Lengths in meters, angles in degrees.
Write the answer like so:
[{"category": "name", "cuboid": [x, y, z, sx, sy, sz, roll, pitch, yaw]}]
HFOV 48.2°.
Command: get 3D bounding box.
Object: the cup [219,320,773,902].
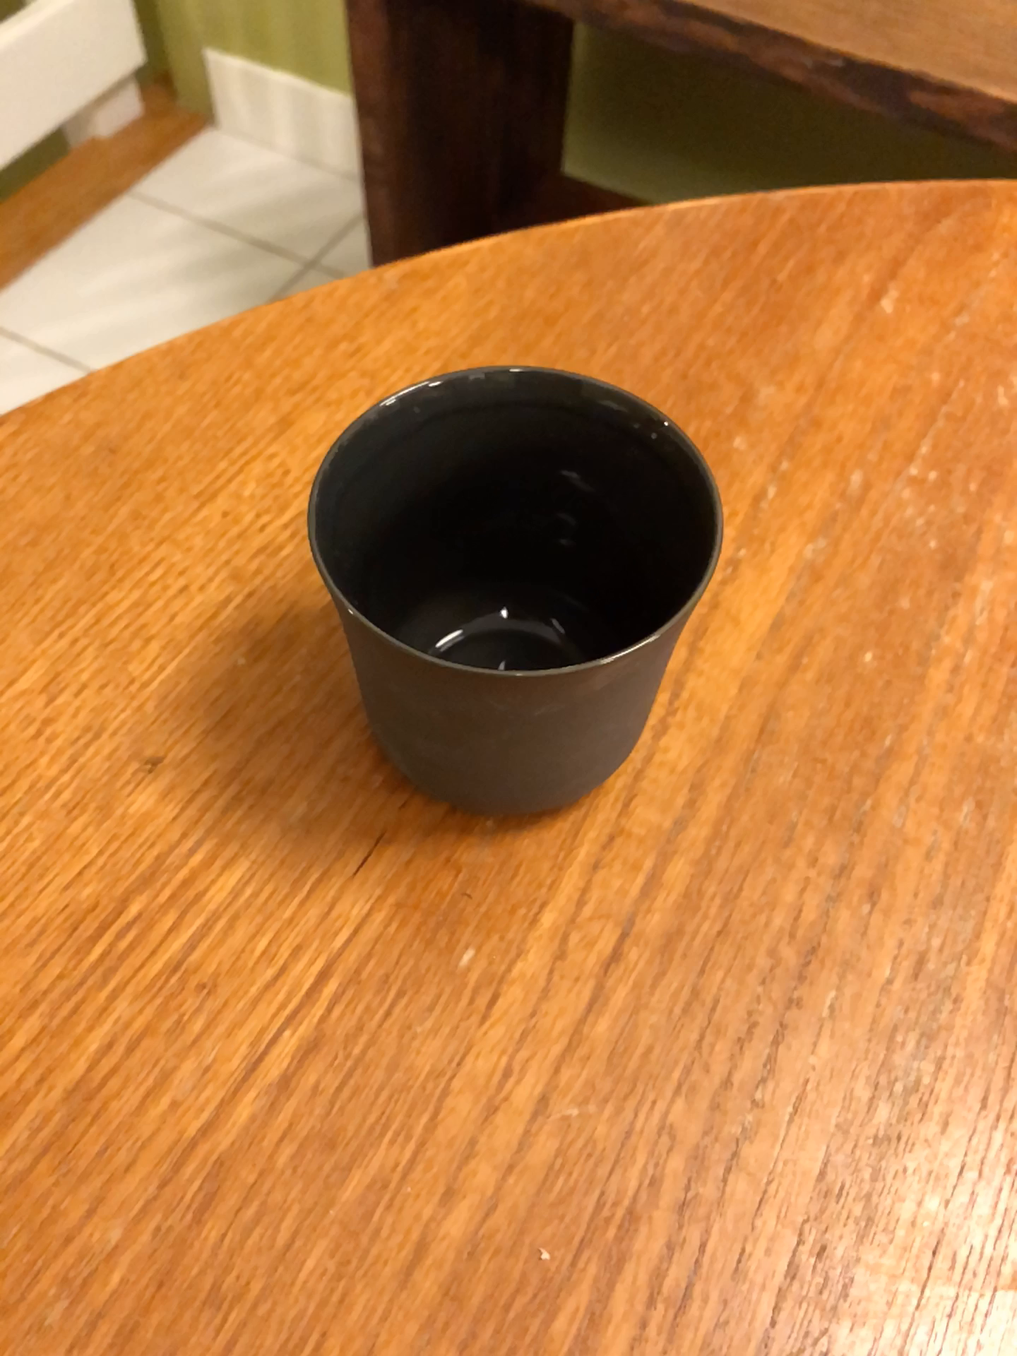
[{"category": "cup", "cuboid": [0.000, -0.013, 0.233, 0.079, 0.068, 0.075, 1, 57, -1]}]
